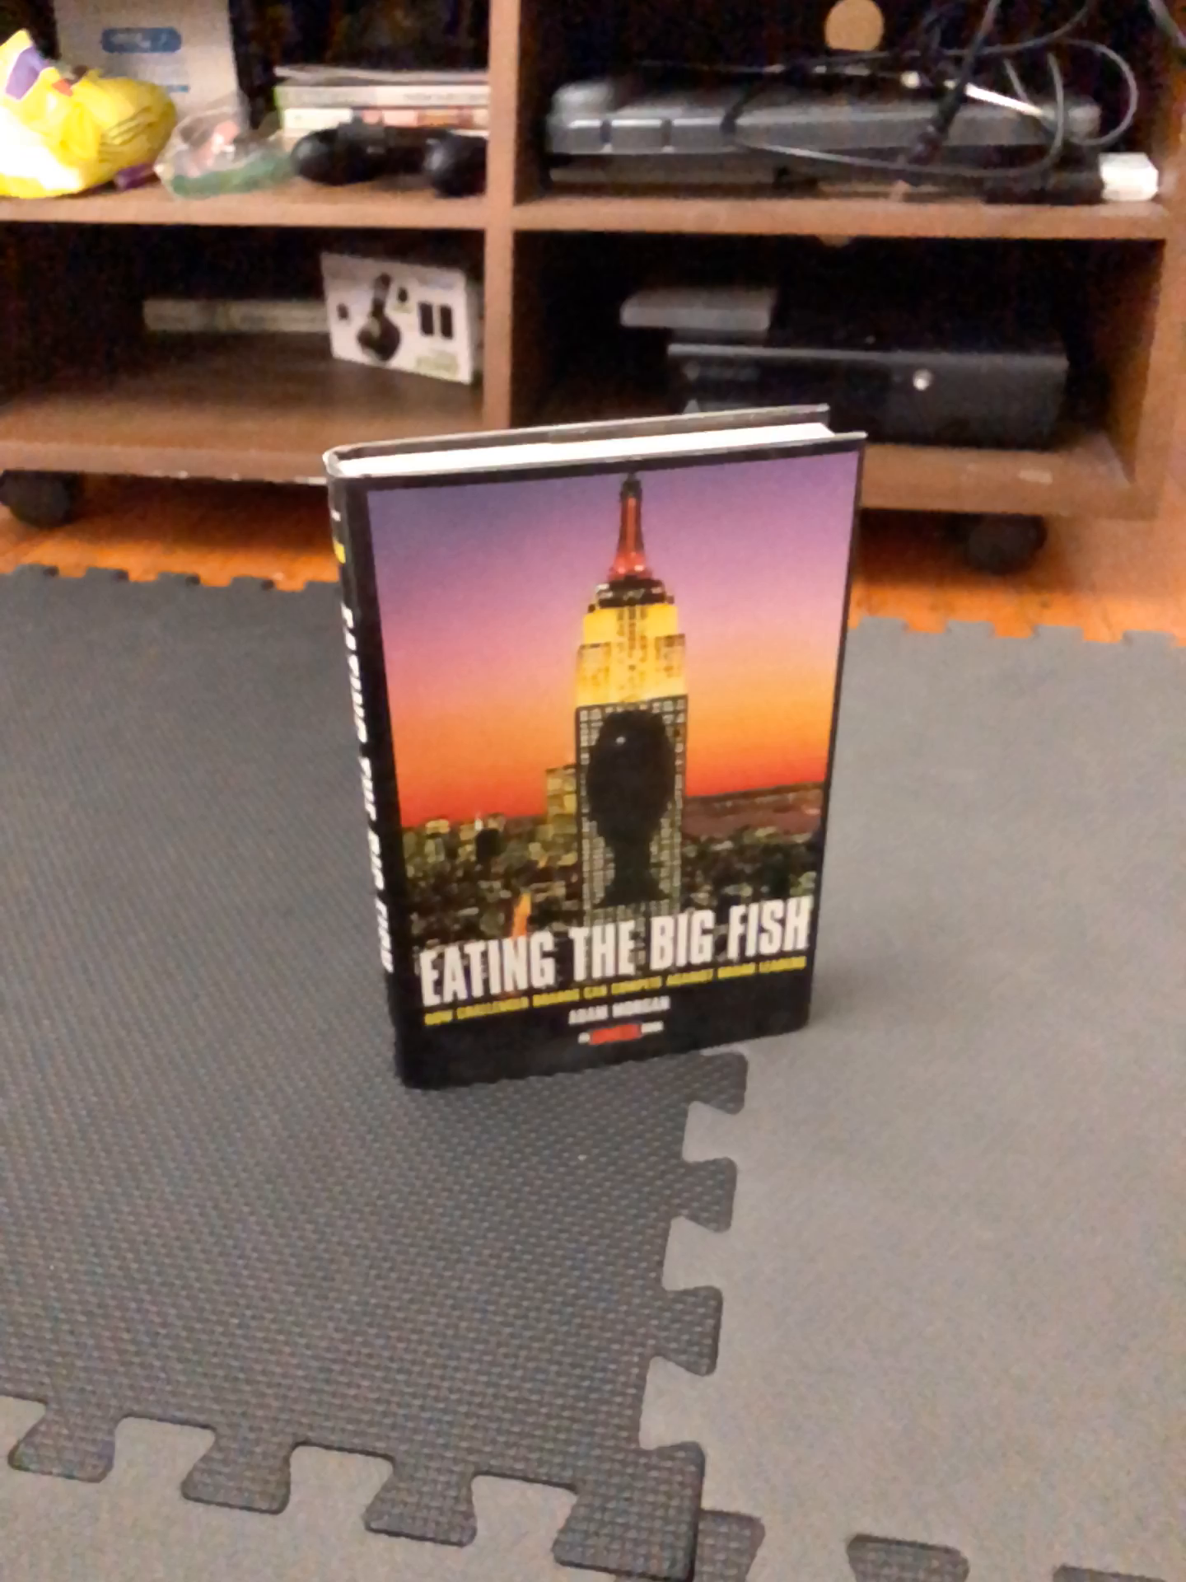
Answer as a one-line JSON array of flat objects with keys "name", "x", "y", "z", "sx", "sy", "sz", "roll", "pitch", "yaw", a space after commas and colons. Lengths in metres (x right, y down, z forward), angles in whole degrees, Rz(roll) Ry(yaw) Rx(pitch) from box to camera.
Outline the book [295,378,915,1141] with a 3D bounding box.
[{"name": "book", "x": 0.005, "y": -0.002, "z": 0.468, "sx": 0.180, "sy": 0.258, "sz": 0.050, "roll": -9, "pitch": 34, "yaw": -12}]
